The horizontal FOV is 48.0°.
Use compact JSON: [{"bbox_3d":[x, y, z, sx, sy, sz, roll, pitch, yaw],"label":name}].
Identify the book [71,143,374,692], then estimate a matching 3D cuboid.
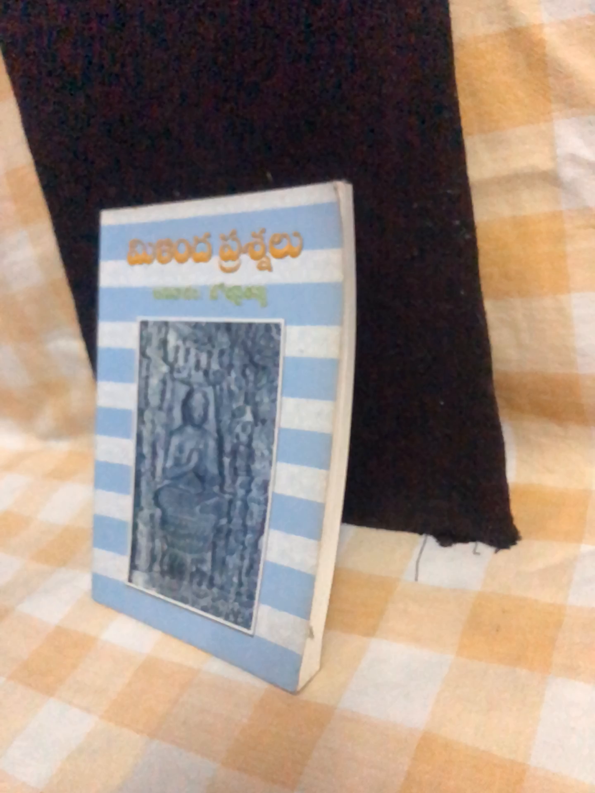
[{"bbox_3d":[-0.045,0.004,0.317,0.160,0.210,0.030,5,3,39],"label":"book"}]
